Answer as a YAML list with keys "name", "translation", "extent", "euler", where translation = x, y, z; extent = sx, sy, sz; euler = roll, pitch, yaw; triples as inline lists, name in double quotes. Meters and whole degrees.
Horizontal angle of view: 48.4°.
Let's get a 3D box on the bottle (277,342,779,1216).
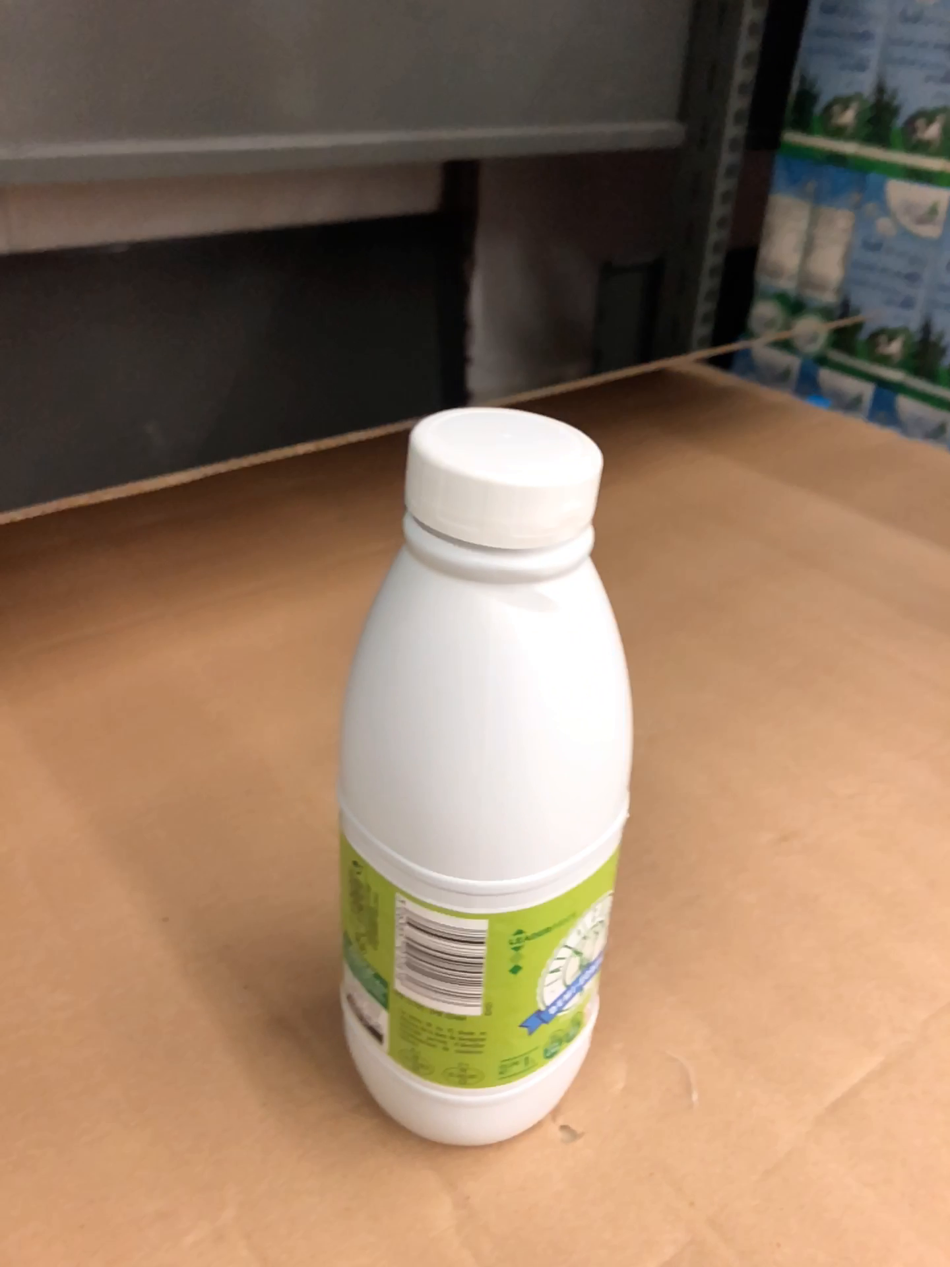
- name: "bottle"
  translation: [0.010, 0.048, 0.325]
  extent: [0.080, 0.239, 0.101]
  euler: [26, 38, 32]
